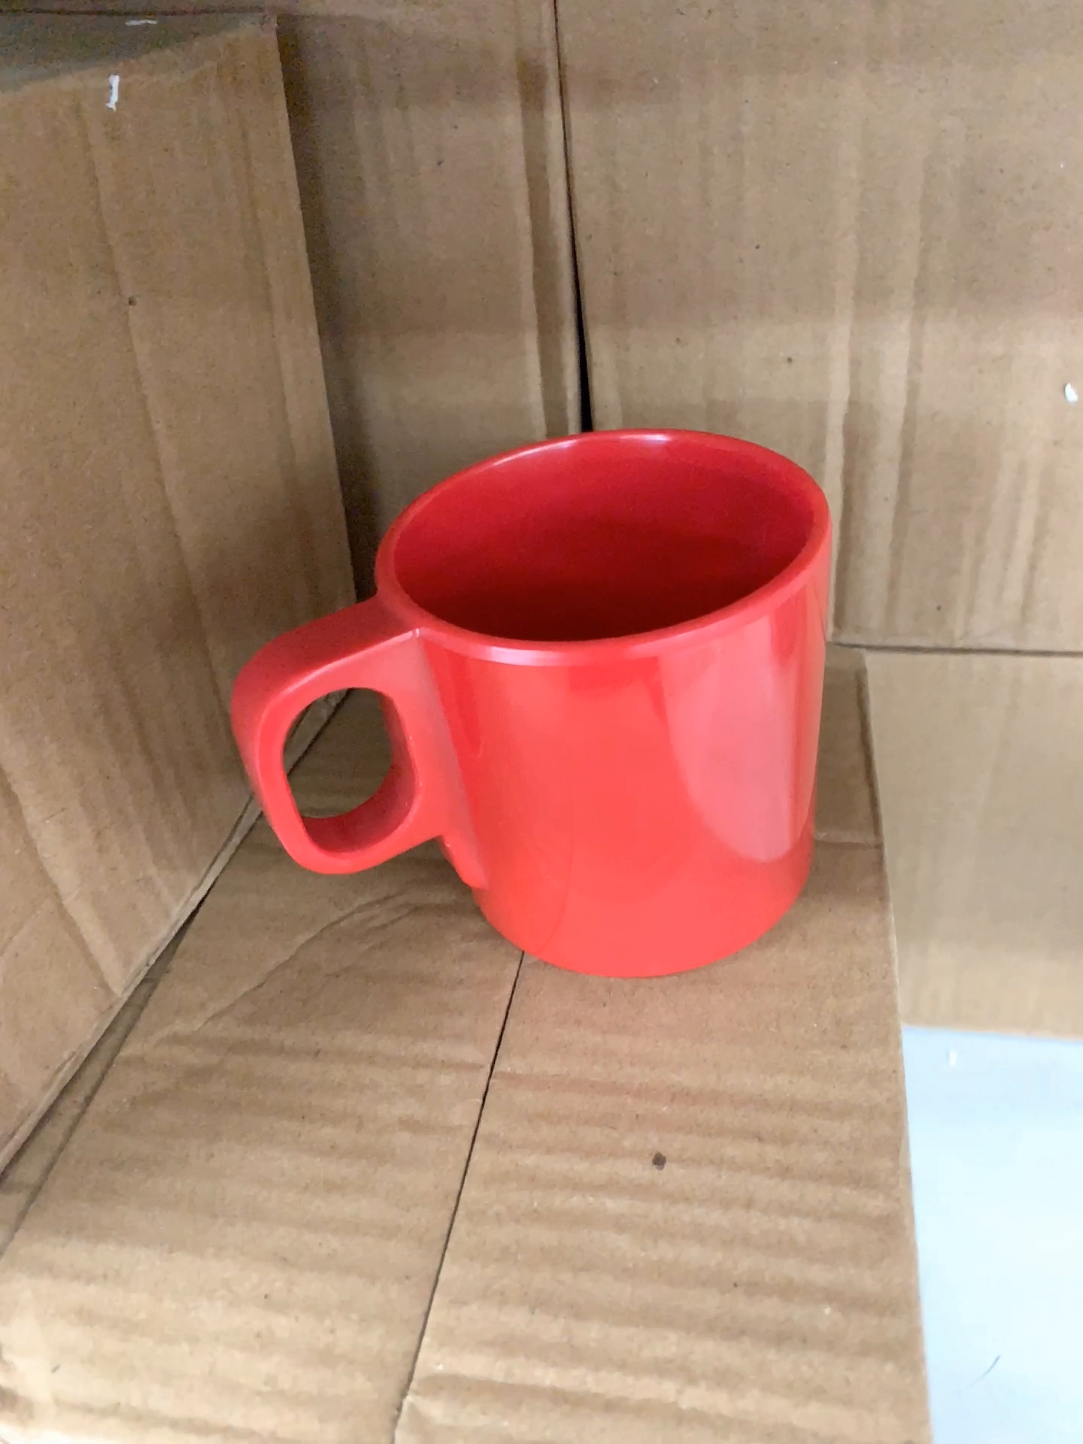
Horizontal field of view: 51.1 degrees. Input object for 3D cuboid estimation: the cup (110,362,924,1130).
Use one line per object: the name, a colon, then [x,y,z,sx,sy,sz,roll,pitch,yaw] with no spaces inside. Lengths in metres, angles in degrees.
cup: [-0.004,-0.001,0.203,0.110,0.079,0.071,-21,40,-16]
